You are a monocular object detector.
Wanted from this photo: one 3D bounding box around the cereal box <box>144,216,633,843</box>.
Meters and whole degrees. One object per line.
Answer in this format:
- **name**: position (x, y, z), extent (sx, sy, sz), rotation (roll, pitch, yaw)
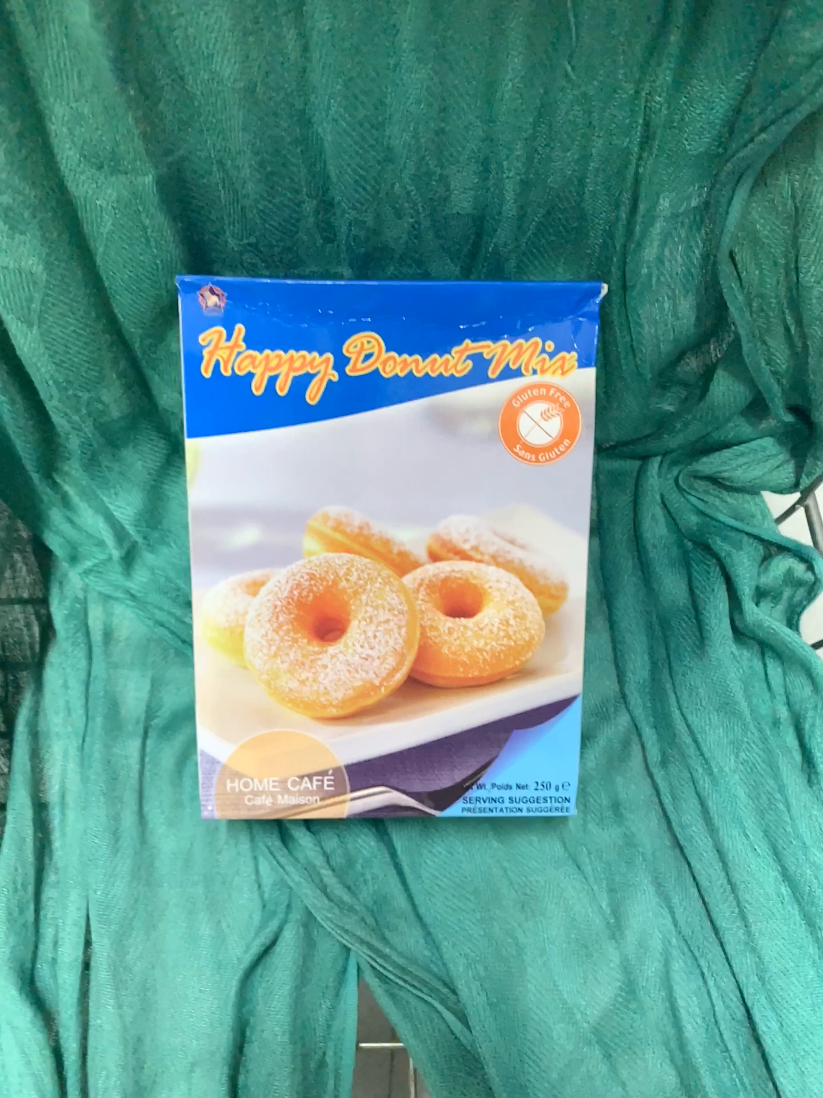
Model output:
- **cereal box**: position (-0.007, -0.005, 0.273), extent (0.130, 0.060, 0.180), rotation (0, 102, -3)
